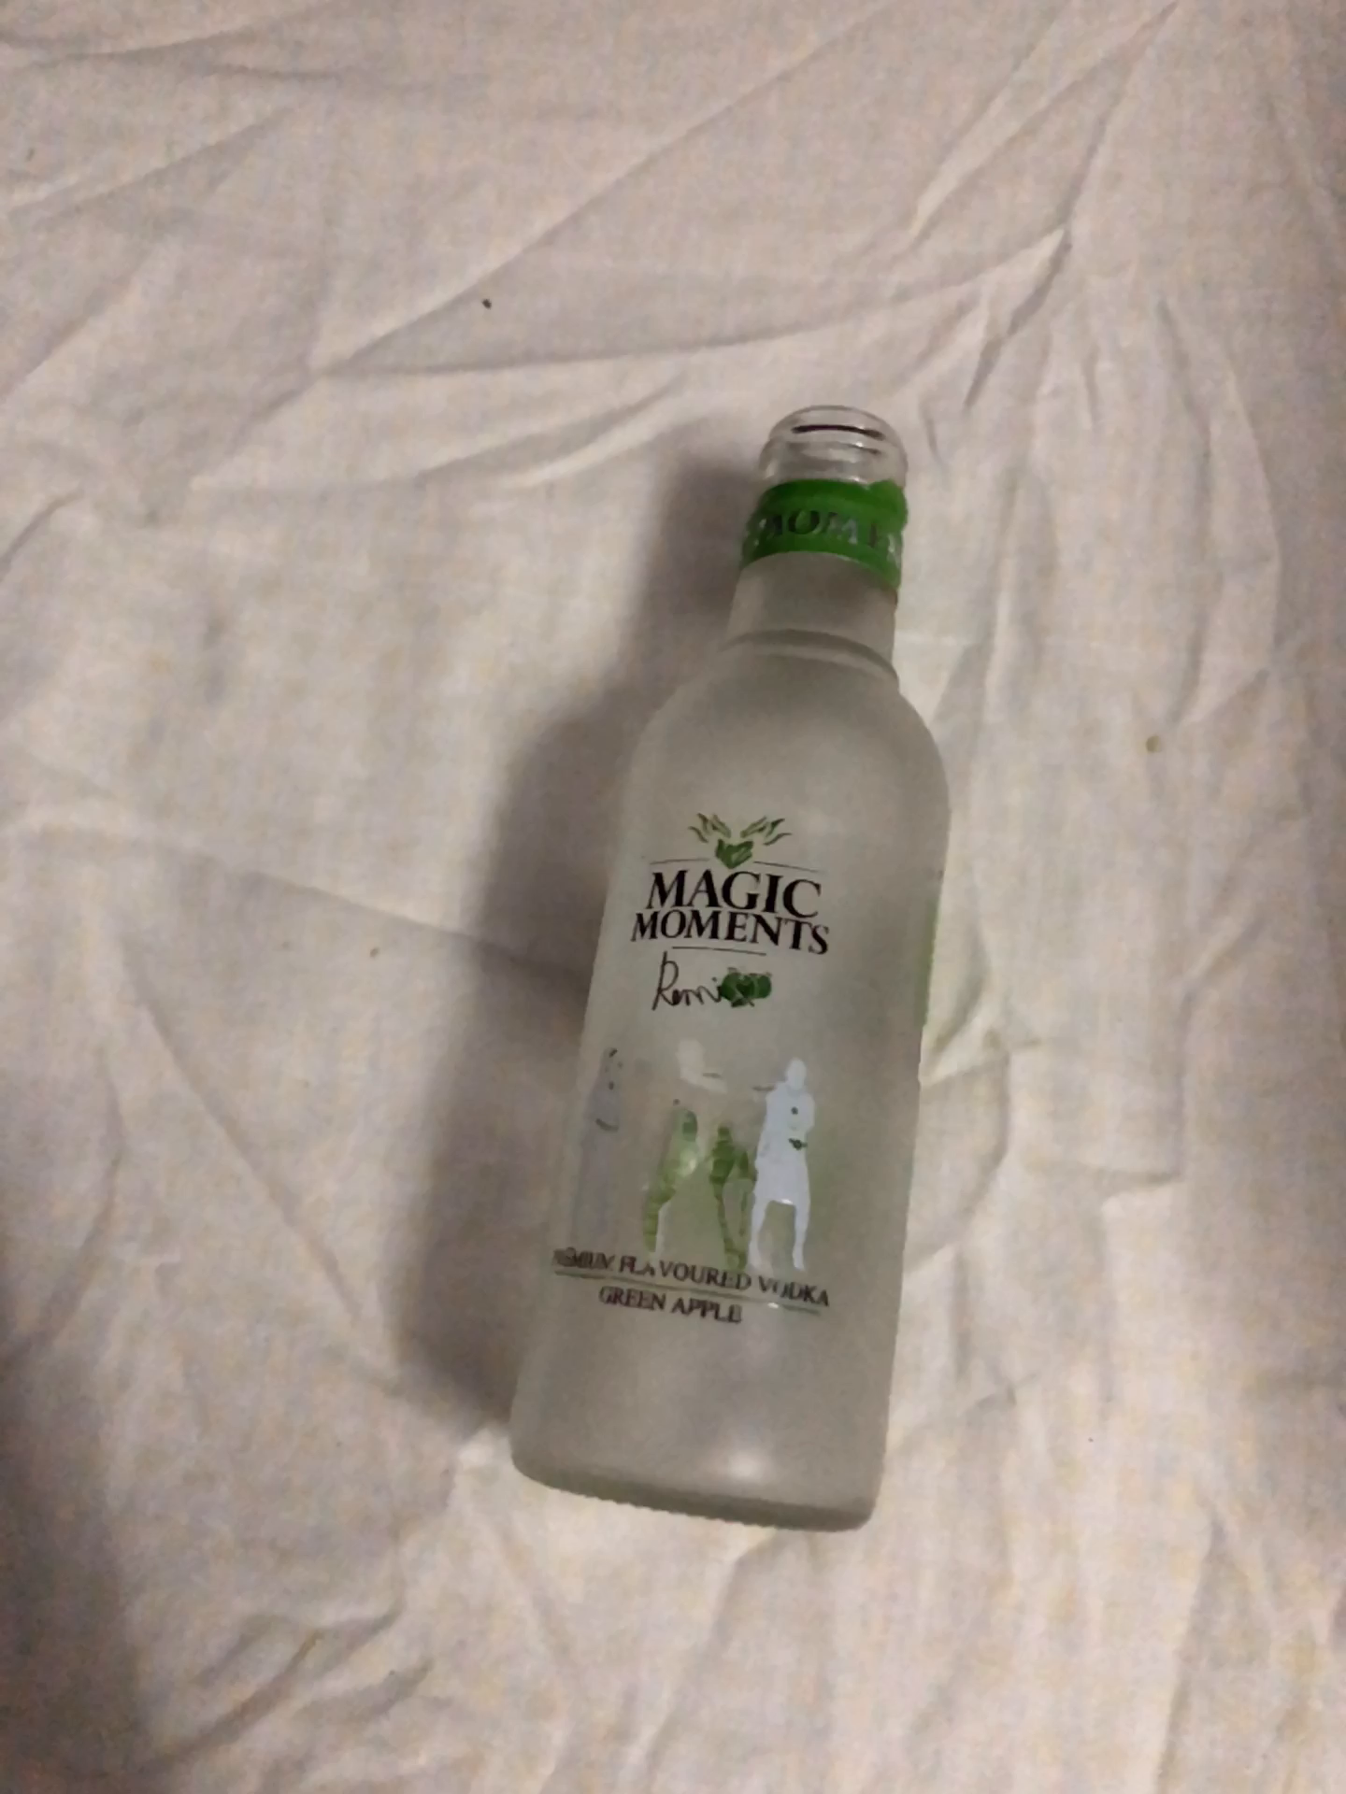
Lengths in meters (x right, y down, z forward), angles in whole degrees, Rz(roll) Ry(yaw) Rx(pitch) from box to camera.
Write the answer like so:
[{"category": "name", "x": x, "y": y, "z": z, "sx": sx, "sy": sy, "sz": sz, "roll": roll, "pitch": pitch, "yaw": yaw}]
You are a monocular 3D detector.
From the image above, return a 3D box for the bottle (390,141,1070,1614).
[{"category": "bottle", "x": 0.014, "y": -0.007, "z": 0.213, "sx": 0.060, "sy": 0.060, "sz": 0.180, "roll": 7, "pitch": 77, "yaw": 8}]
